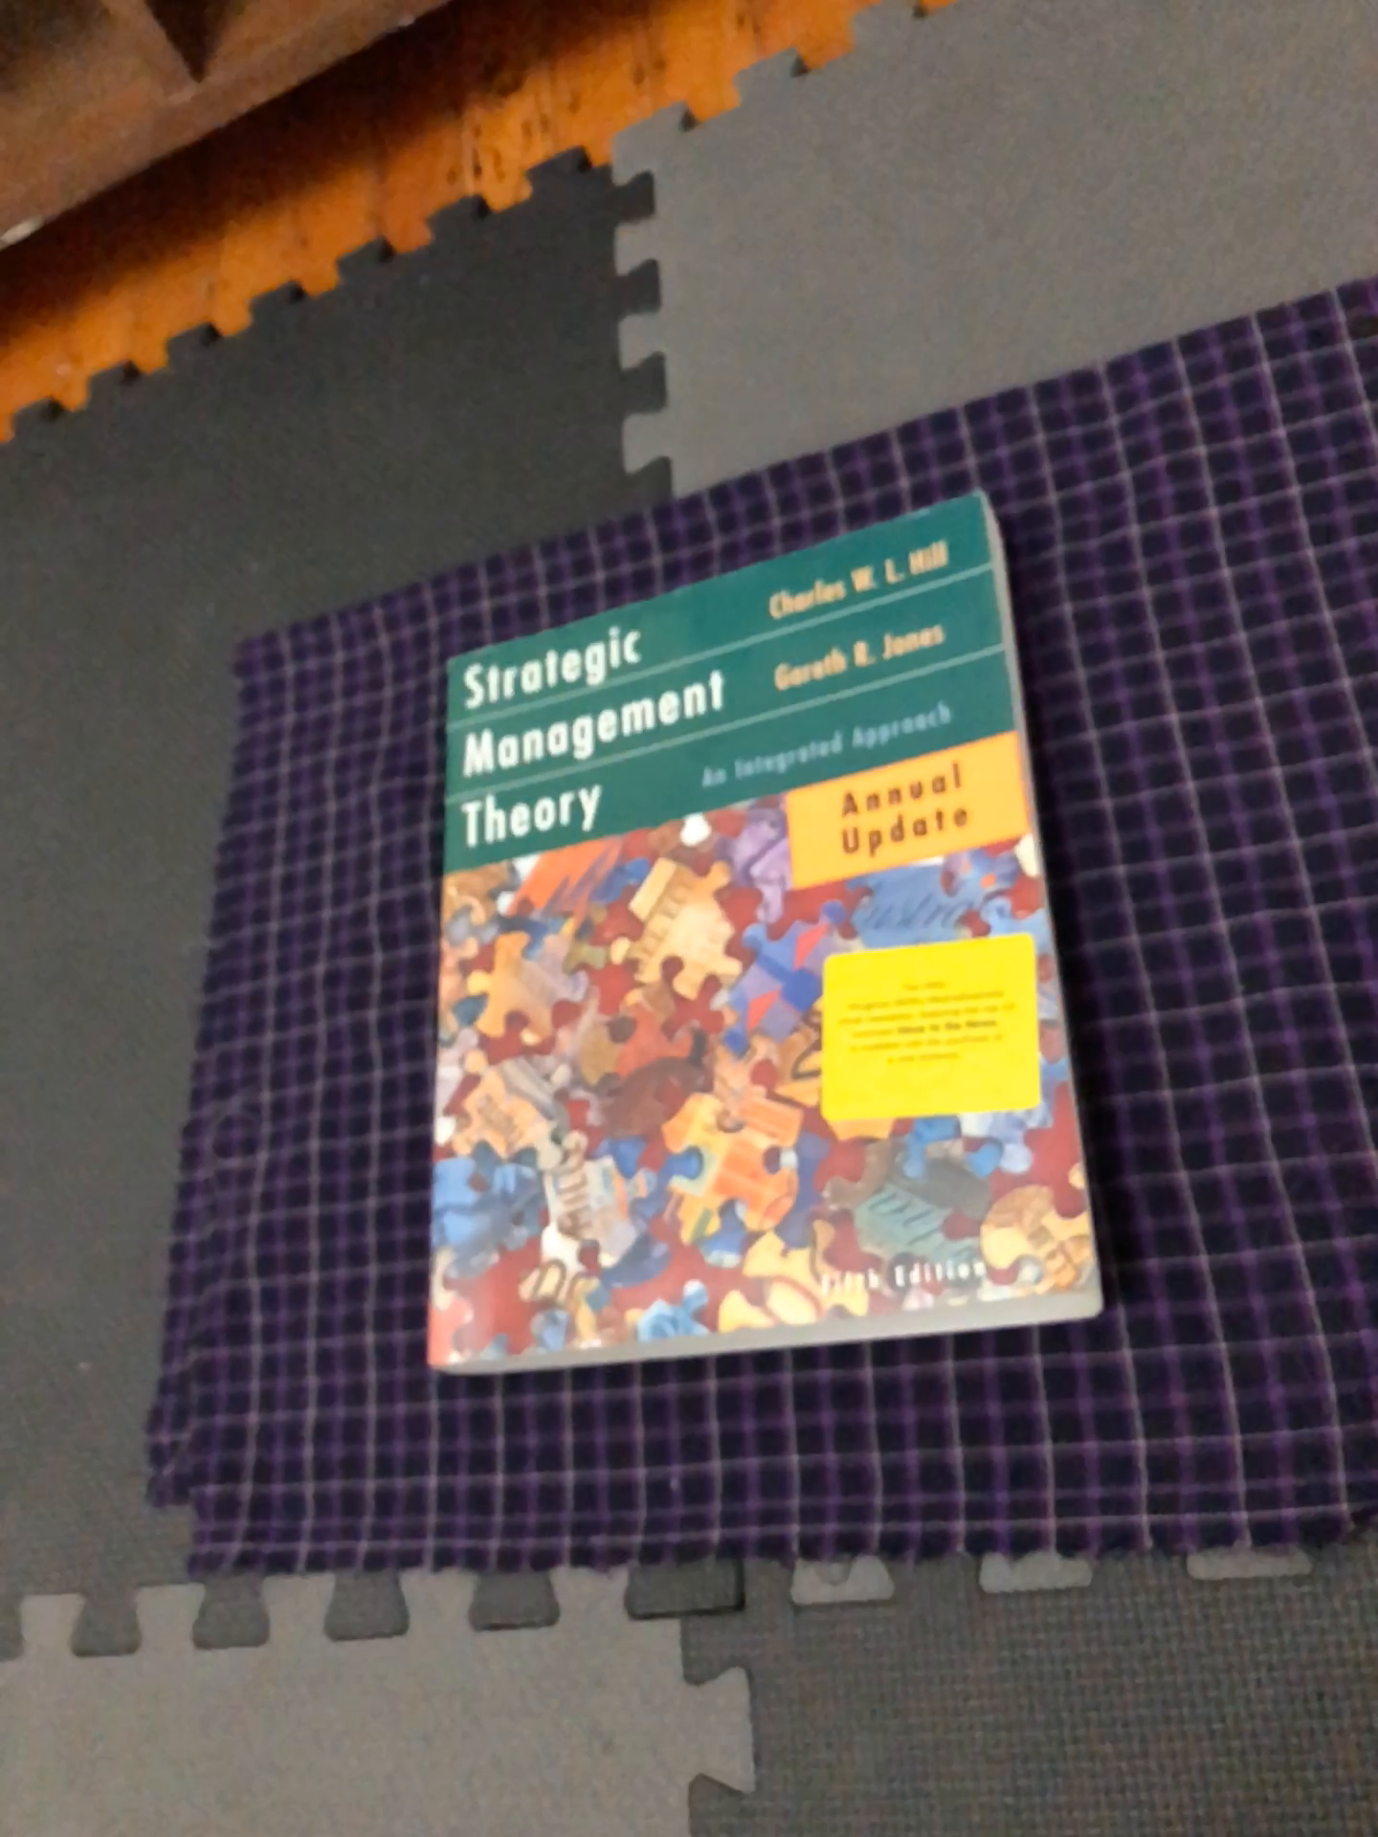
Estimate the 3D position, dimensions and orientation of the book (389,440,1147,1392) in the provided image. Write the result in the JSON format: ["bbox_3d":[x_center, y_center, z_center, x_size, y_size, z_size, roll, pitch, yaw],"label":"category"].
[{"bbox_3d":[0.011,0.002,0.513,0.230,0.040,0.281,-12,66,24],"label":"book"}]
